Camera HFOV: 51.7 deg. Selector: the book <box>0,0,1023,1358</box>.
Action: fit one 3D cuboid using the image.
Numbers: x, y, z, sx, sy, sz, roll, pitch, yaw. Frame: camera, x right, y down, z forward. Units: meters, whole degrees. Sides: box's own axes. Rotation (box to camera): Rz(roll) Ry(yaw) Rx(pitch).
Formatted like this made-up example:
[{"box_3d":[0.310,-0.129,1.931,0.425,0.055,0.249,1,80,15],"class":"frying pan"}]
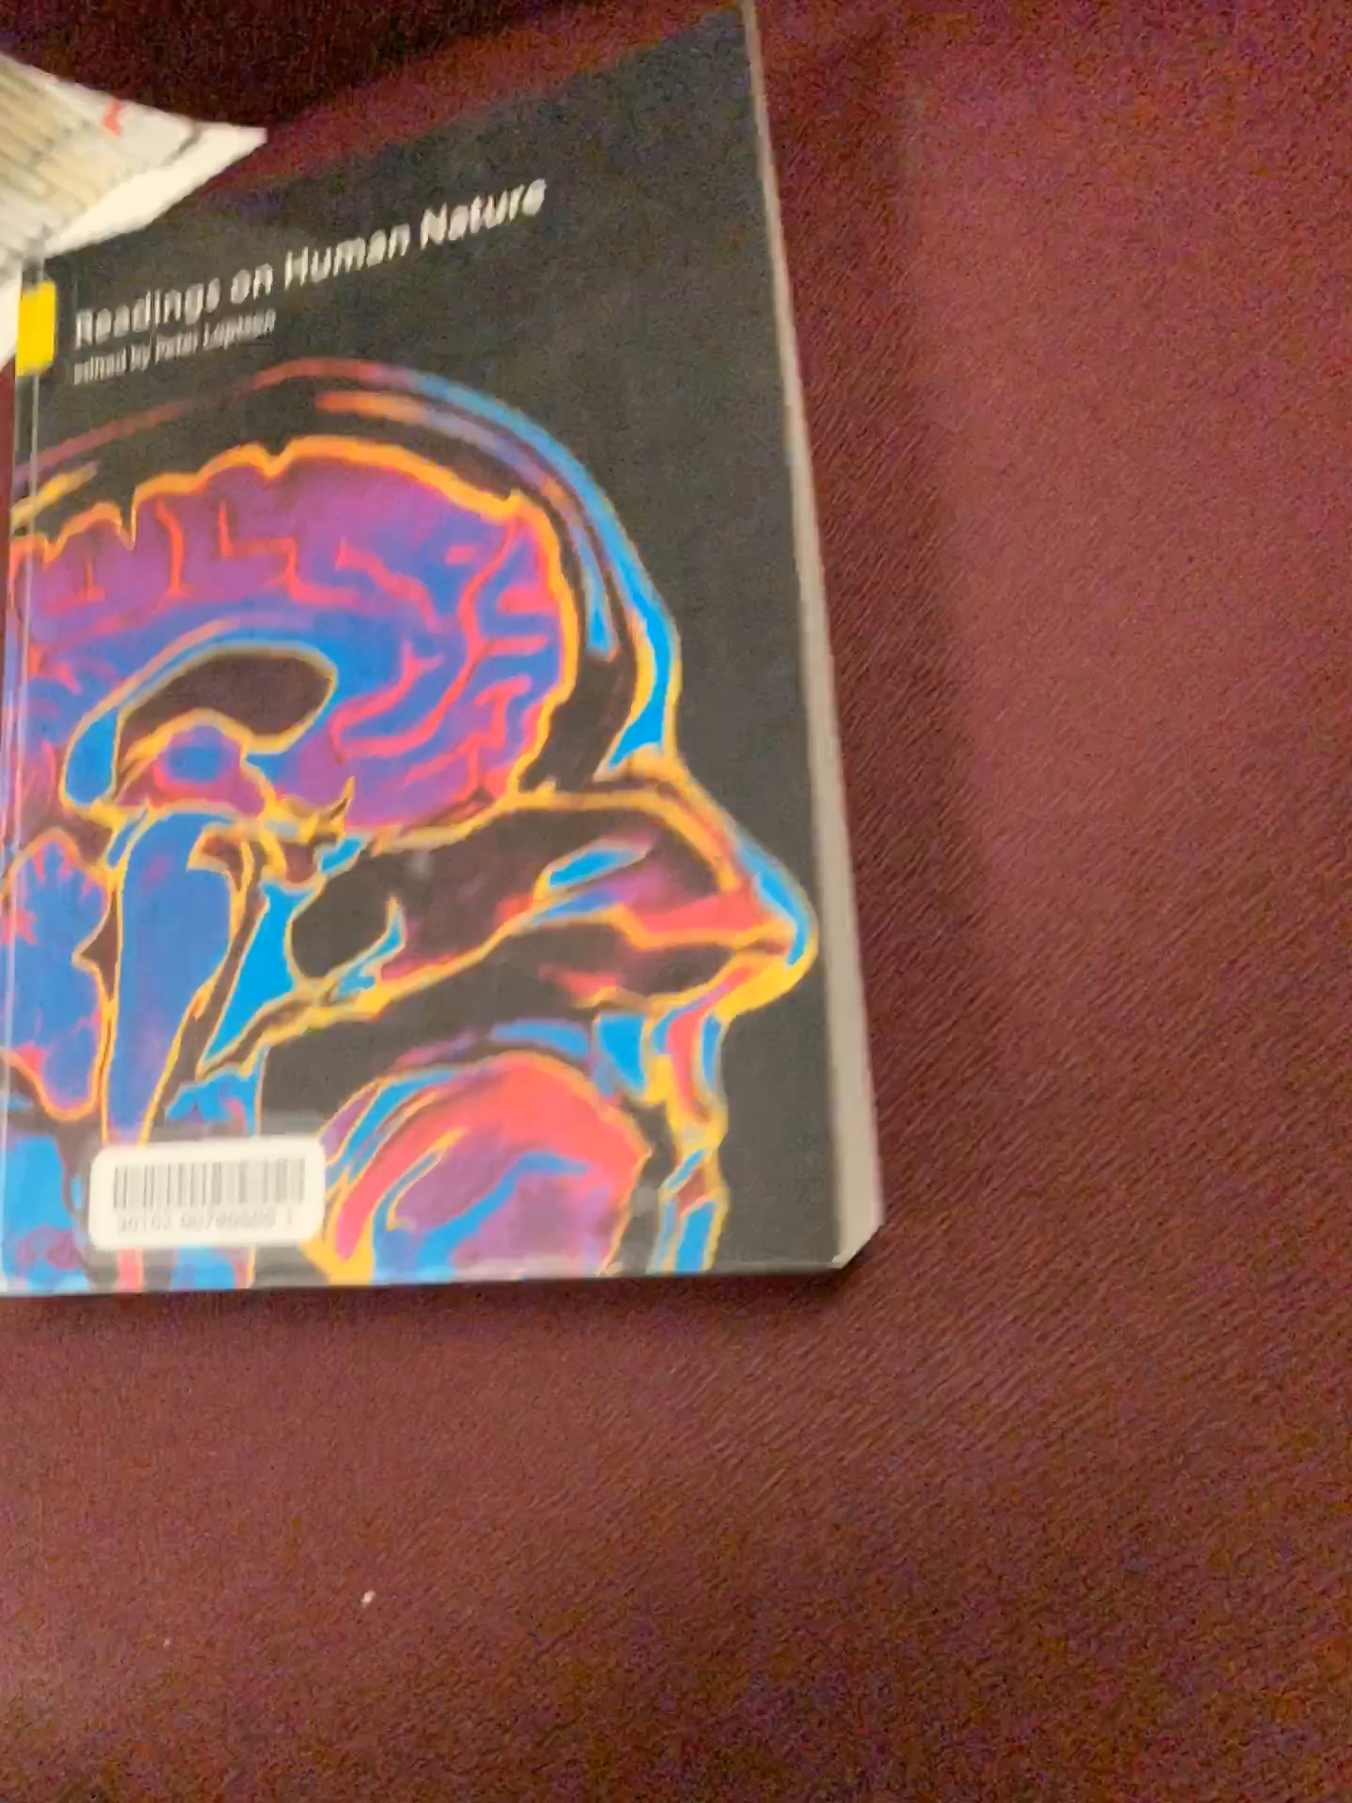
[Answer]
[{"box_3d":[-0.050,-0.041,0.263,0.201,0.040,0.241,-7,72,20],"class":"book"}]
